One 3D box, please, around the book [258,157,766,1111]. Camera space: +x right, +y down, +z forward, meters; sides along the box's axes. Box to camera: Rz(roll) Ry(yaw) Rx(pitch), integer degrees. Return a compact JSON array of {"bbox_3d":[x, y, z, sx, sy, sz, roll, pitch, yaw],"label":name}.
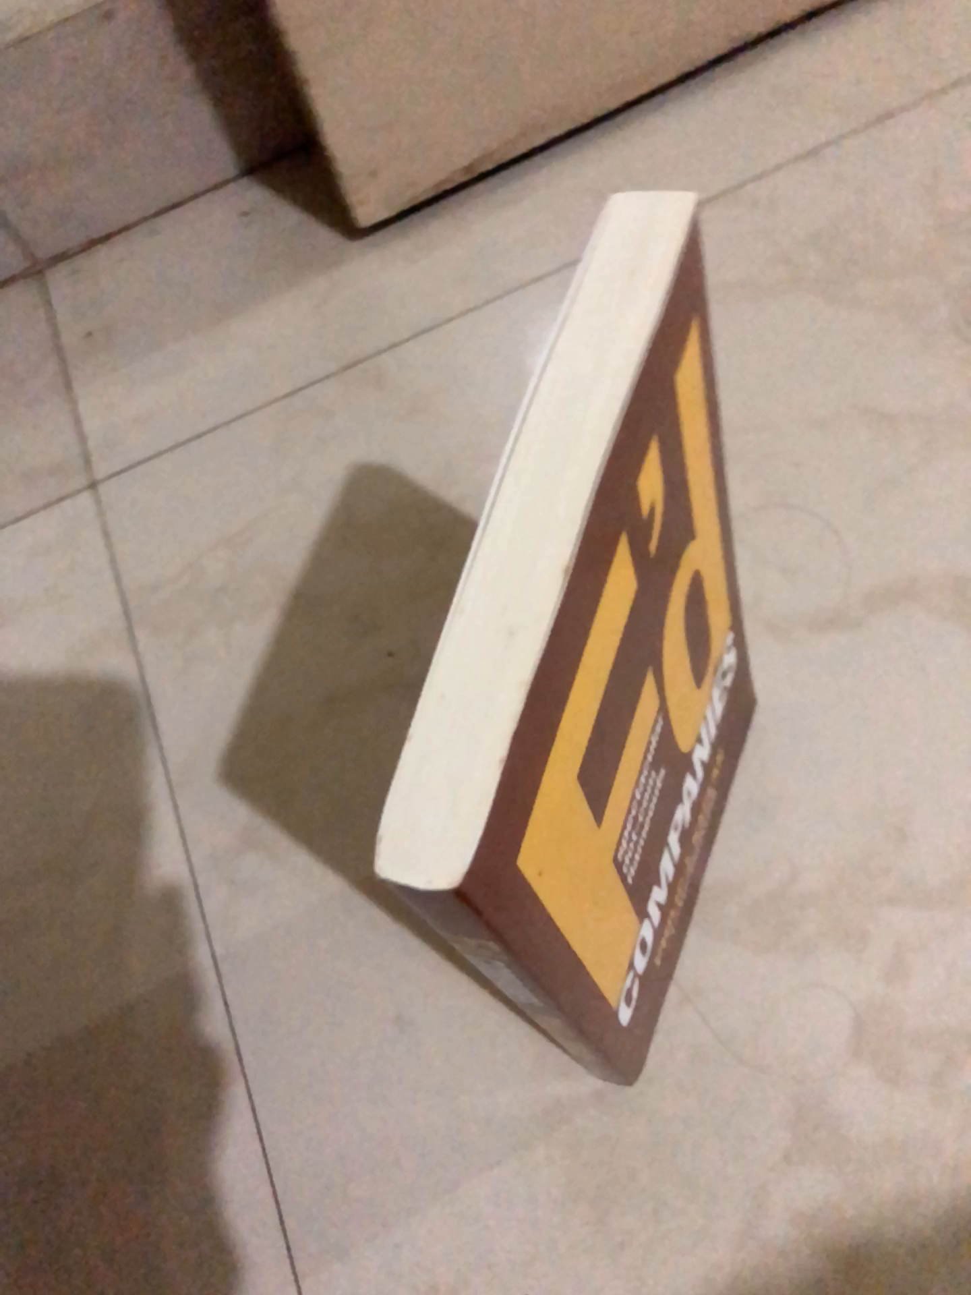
[{"bbox_3d":[0.030,0.022,0.242,0.030,0.200,0.130,14,67,21],"label":"book"}]
